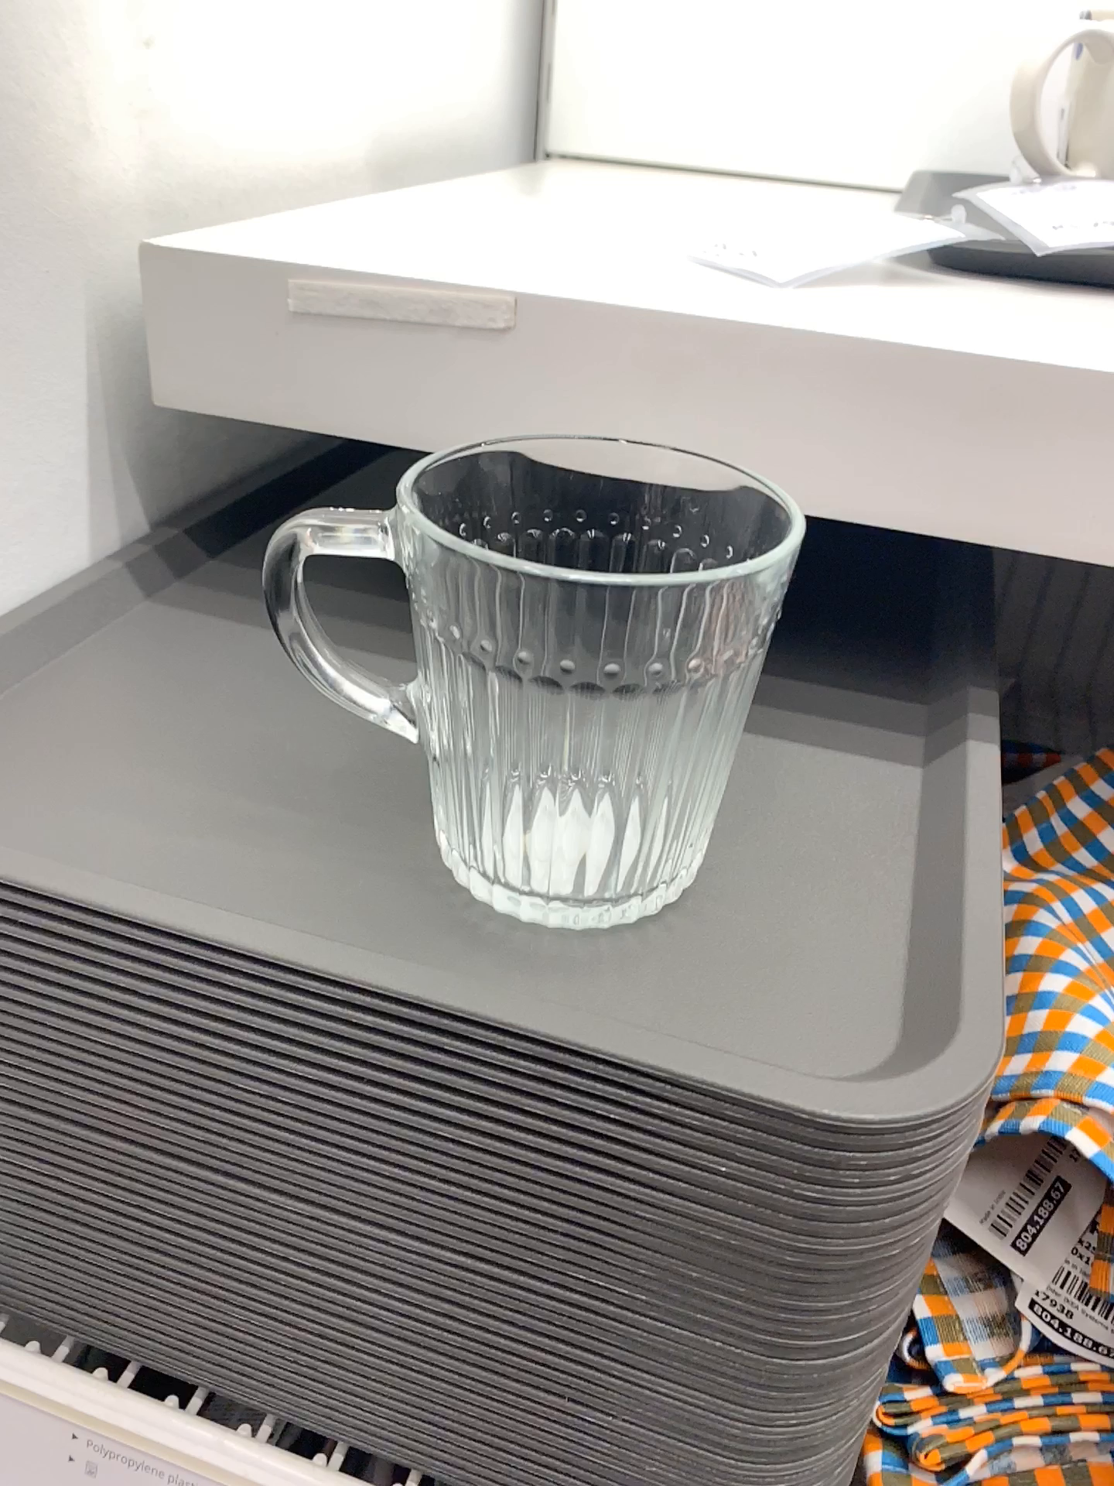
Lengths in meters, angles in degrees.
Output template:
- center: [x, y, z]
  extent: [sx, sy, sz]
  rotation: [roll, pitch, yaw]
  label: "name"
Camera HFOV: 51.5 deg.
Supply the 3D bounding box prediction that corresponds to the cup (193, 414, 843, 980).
- center: [-0.005, -0.015, 0.247]
  extent: [0.110, 0.080, 0.080]
  rotation: [8, 29, 5]
  label: "cup"
